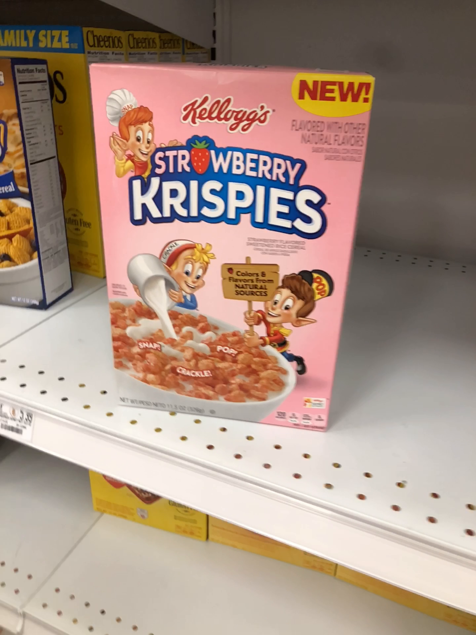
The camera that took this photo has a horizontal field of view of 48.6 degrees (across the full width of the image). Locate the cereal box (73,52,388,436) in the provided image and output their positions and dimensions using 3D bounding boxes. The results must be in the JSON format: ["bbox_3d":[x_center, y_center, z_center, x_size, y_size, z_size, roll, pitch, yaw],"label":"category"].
[{"bbox_3d":[-0.004,-0.051,0.429,0.200,0.289,0.070,5,29,9],"label":"cereal box"}]
